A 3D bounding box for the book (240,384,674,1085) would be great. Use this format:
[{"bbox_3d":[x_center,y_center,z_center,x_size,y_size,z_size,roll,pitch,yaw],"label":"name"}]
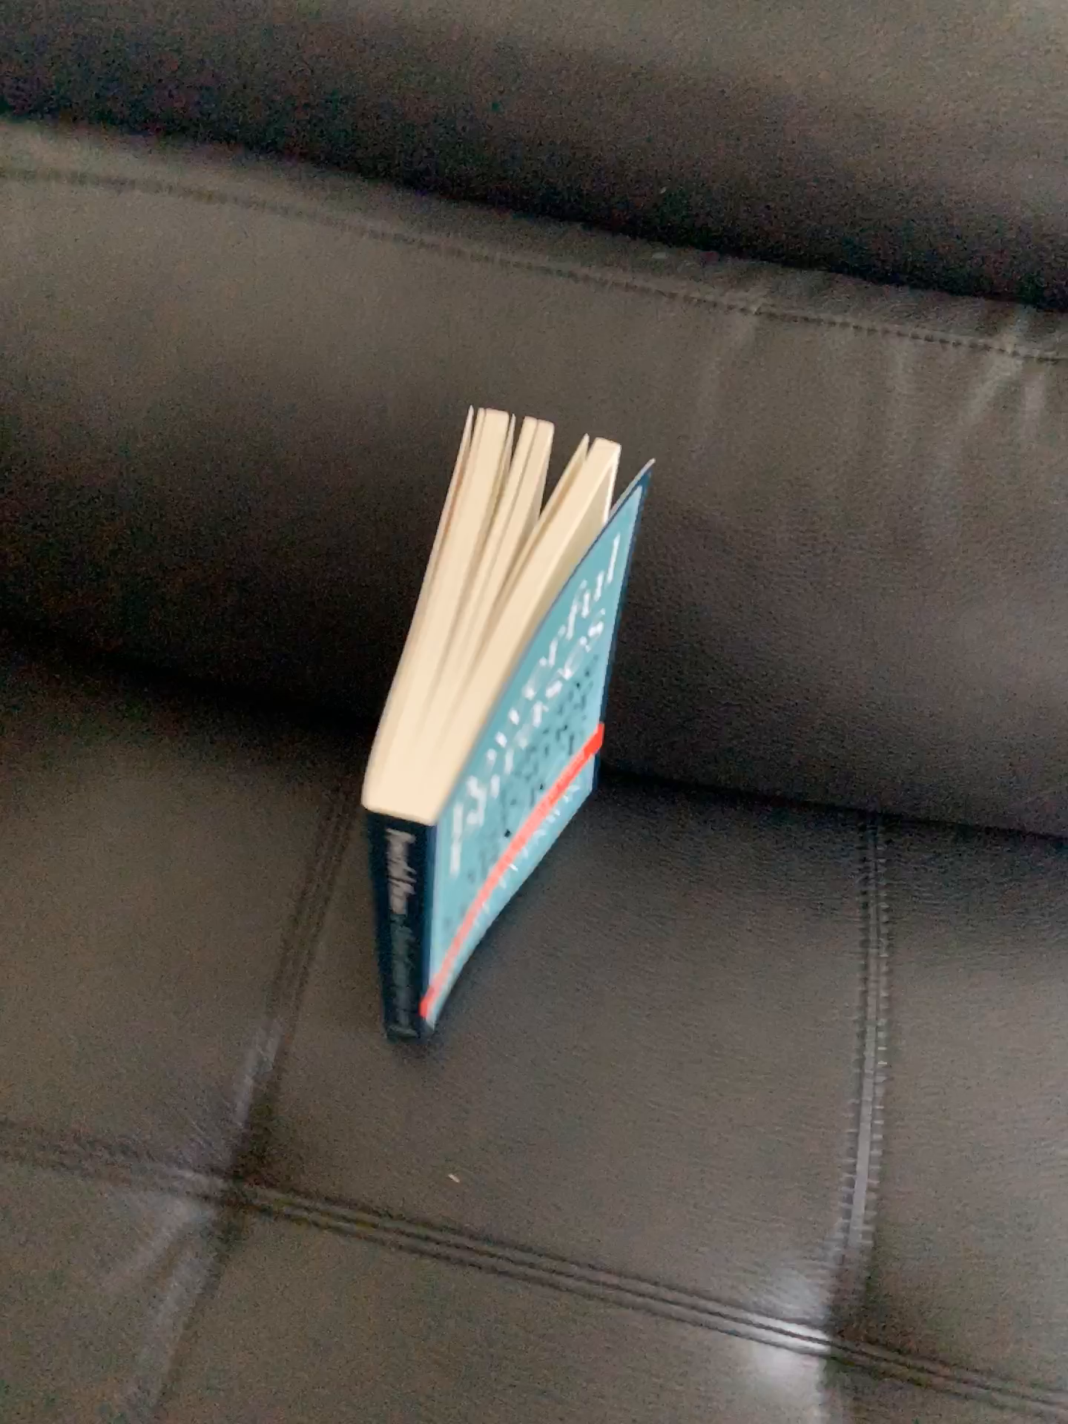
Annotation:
[{"bbox_3d":[-0.023,0.029,0.432,0.082,0.247,0.163,16,60,5],"label":"book"}]
